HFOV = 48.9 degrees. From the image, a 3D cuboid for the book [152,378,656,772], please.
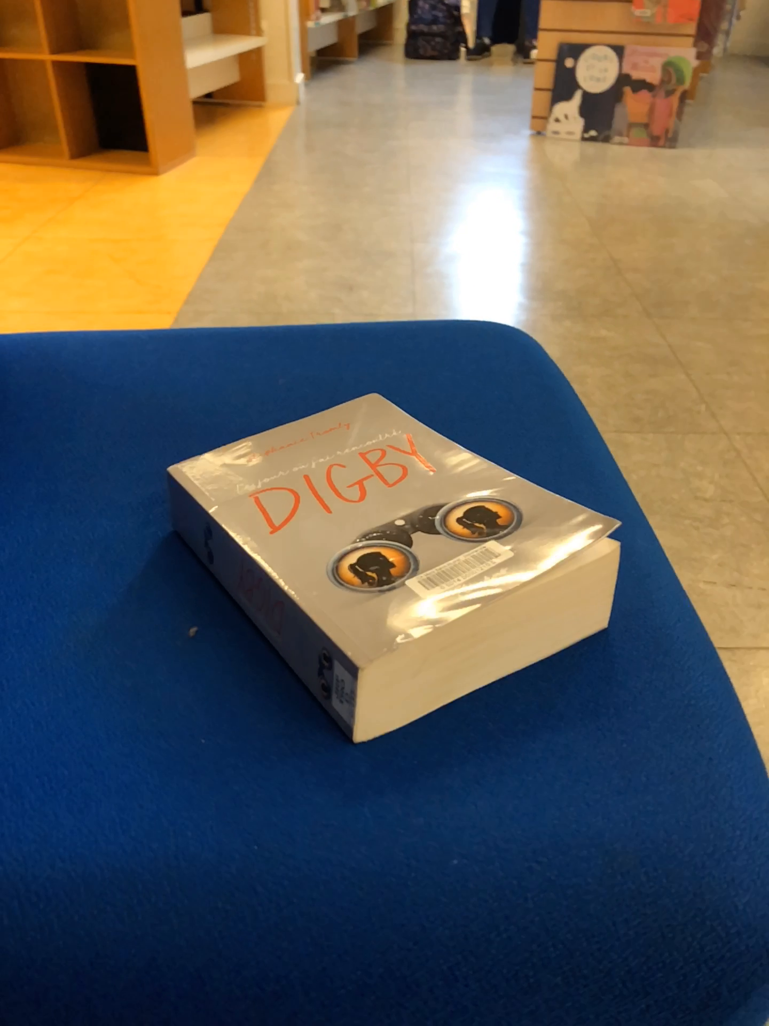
[{"bbox_3d":[-0.003,0.008,0.420,0.151,0.056,0.211,-20,34,-26],"label":"book"}]
